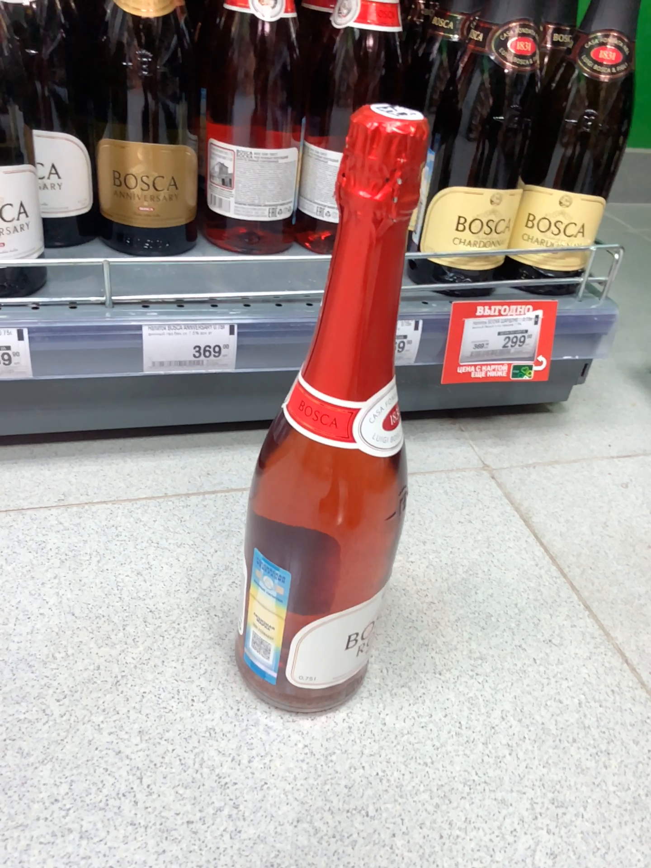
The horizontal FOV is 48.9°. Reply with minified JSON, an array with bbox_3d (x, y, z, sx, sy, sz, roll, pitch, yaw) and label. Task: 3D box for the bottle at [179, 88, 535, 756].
[{"bbox_3d":[-0.001,0.009,0.367,0.100,0.317,0.100,6,34,-4],"label":"bottle"}]
